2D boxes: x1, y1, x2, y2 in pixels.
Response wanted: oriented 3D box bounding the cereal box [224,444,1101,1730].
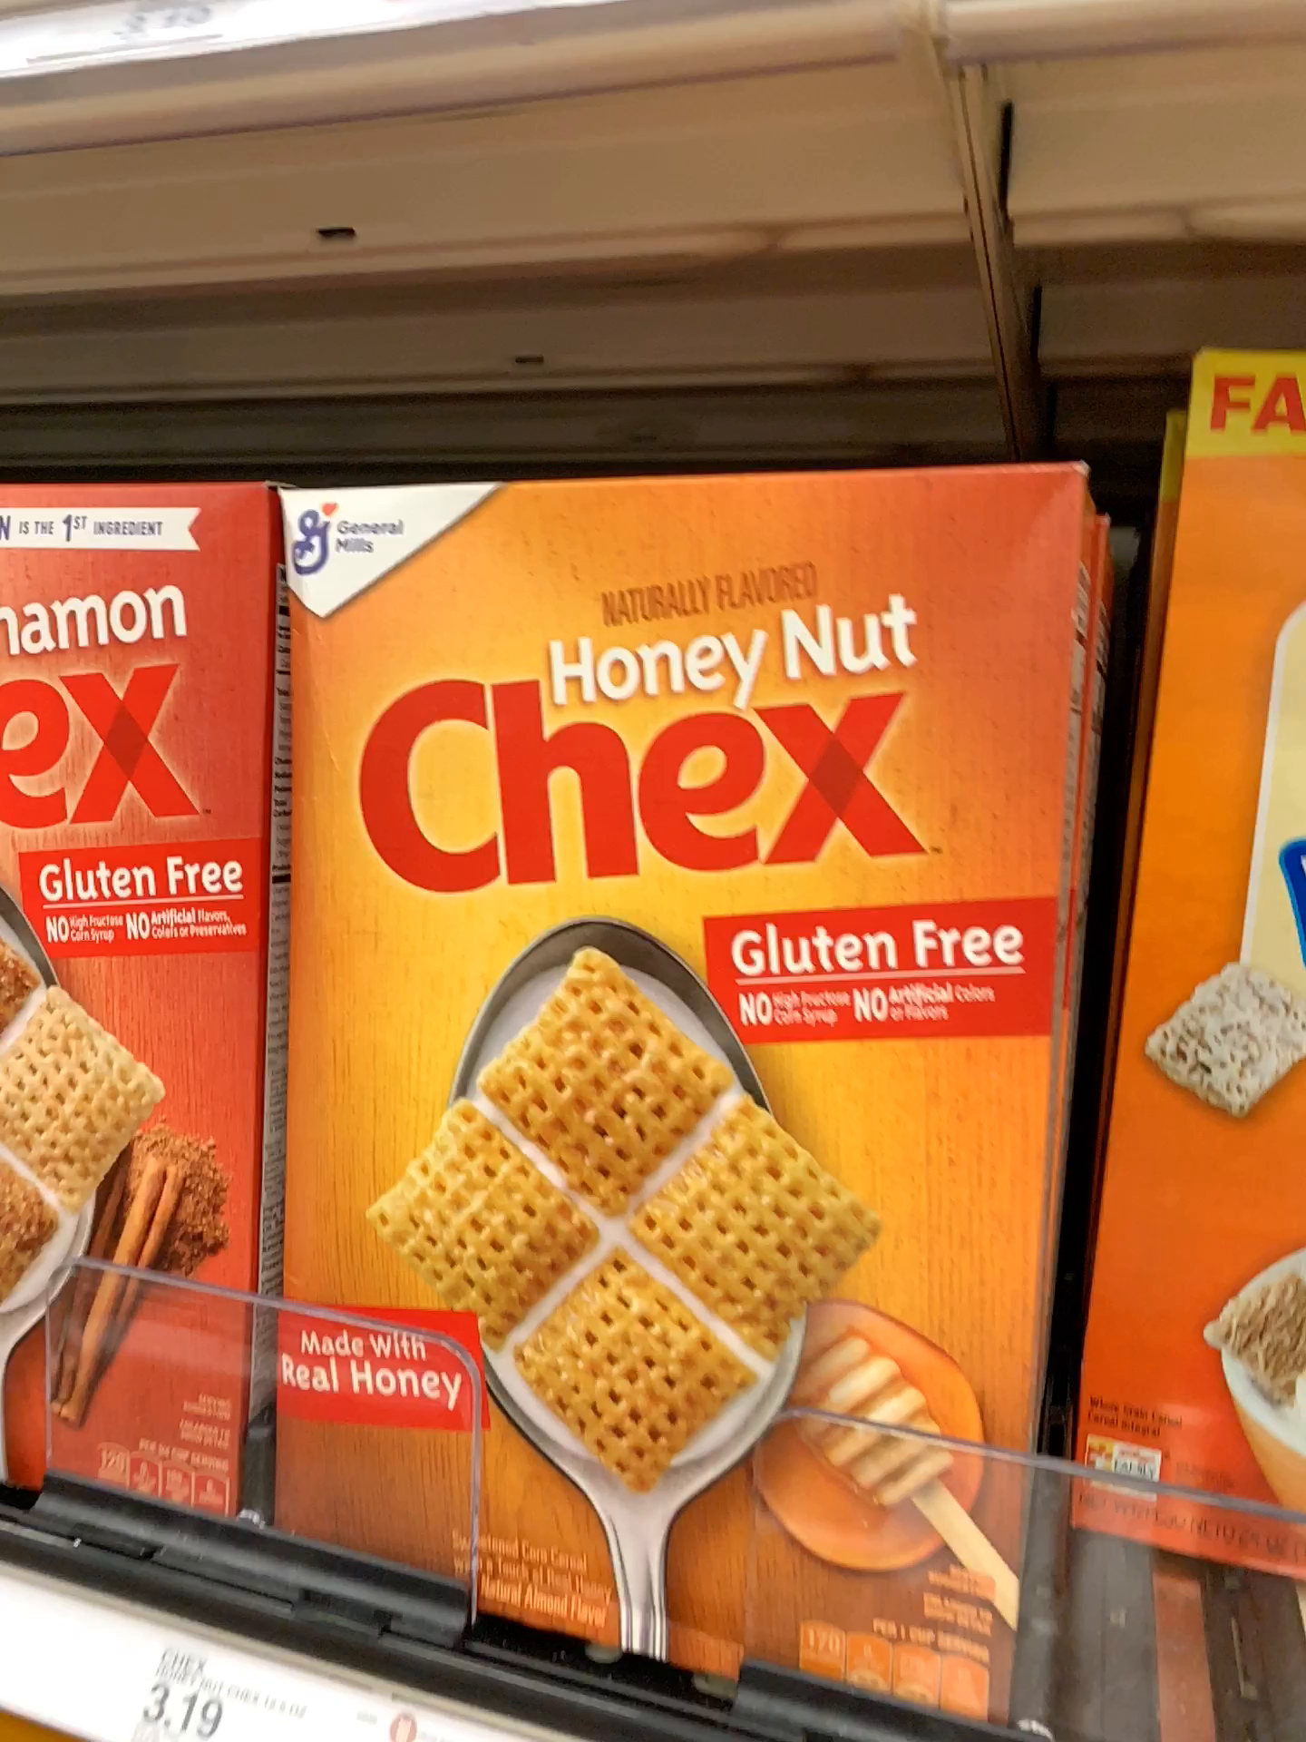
[{"bbox_3d":[-0.004,0.042,0.342,0.200,0.279,0.060,5,8,17],"label":"cereal box"}]
